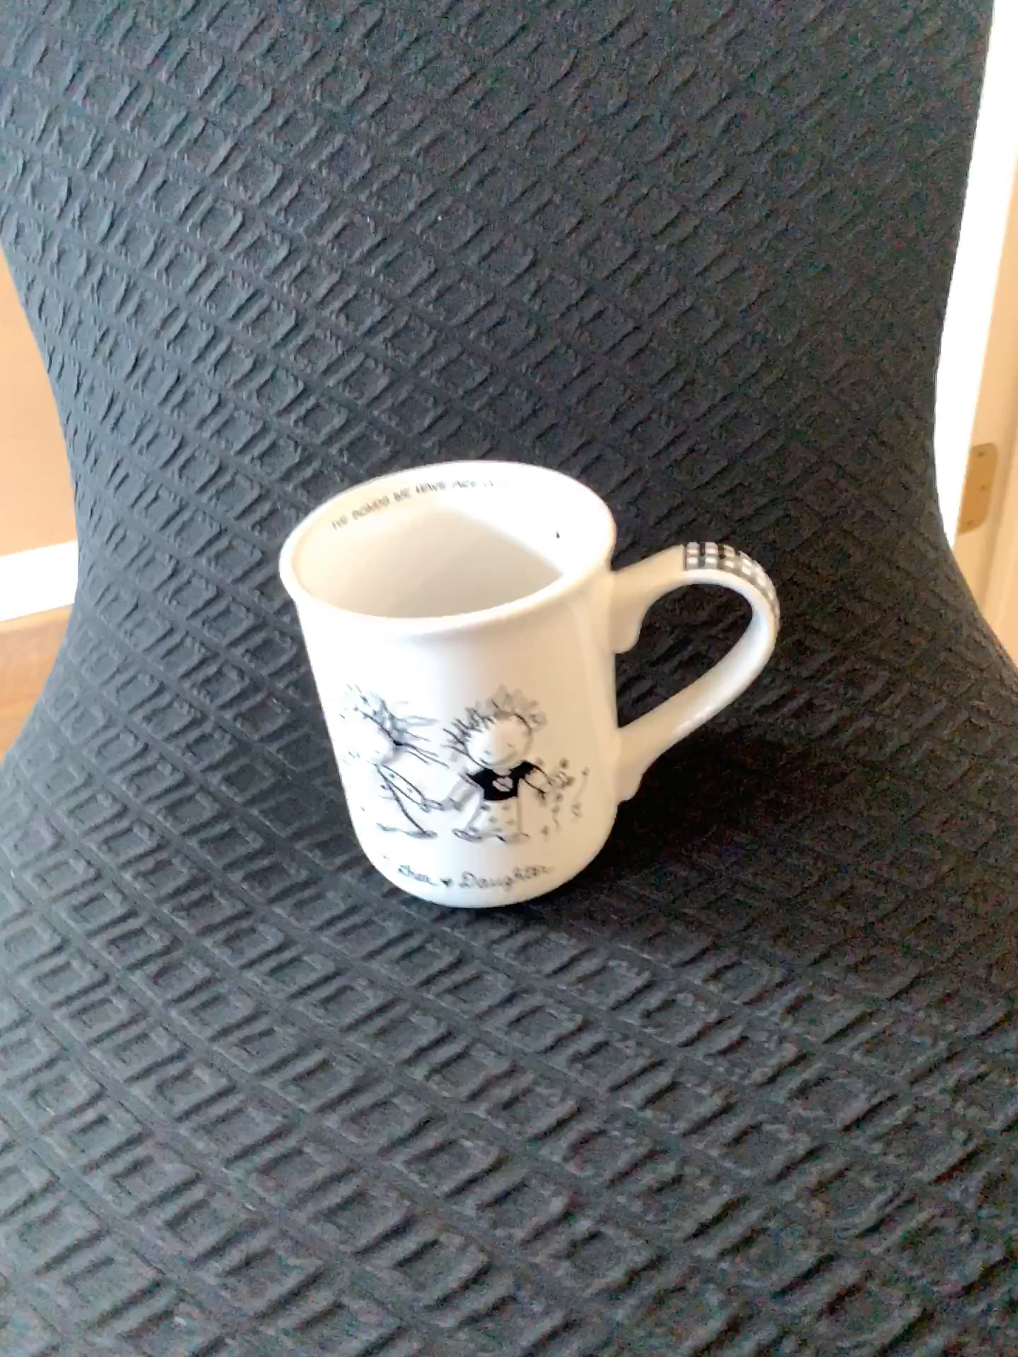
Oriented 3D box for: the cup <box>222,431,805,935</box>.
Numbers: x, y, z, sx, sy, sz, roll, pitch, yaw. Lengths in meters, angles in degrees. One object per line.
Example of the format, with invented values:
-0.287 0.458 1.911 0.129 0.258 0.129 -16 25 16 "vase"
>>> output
0.010 0.001 0.321 0.140 0.109 0.101 -1 38 10 "cup"
